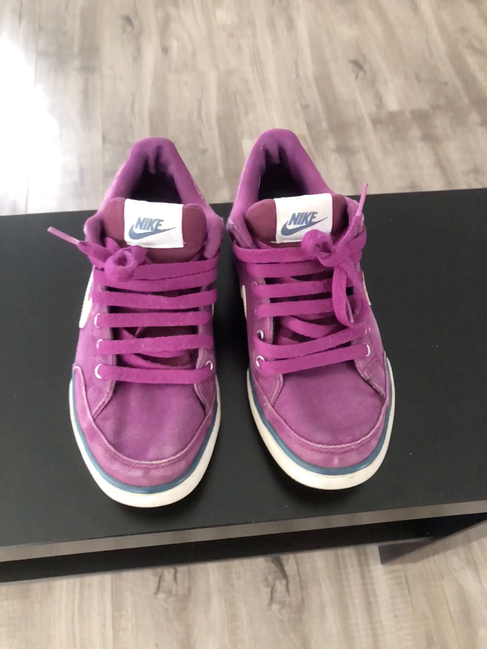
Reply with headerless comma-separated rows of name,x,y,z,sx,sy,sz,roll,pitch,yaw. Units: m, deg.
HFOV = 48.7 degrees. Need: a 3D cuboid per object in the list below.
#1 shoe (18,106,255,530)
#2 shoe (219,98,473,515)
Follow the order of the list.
shoe,-0.057,-0.012,0.333,0.100,0.100,0.241,-3,60,-4
shoe,0.042,-0.021,0.348,0.100,0.100,0.251,-3,60,-4
